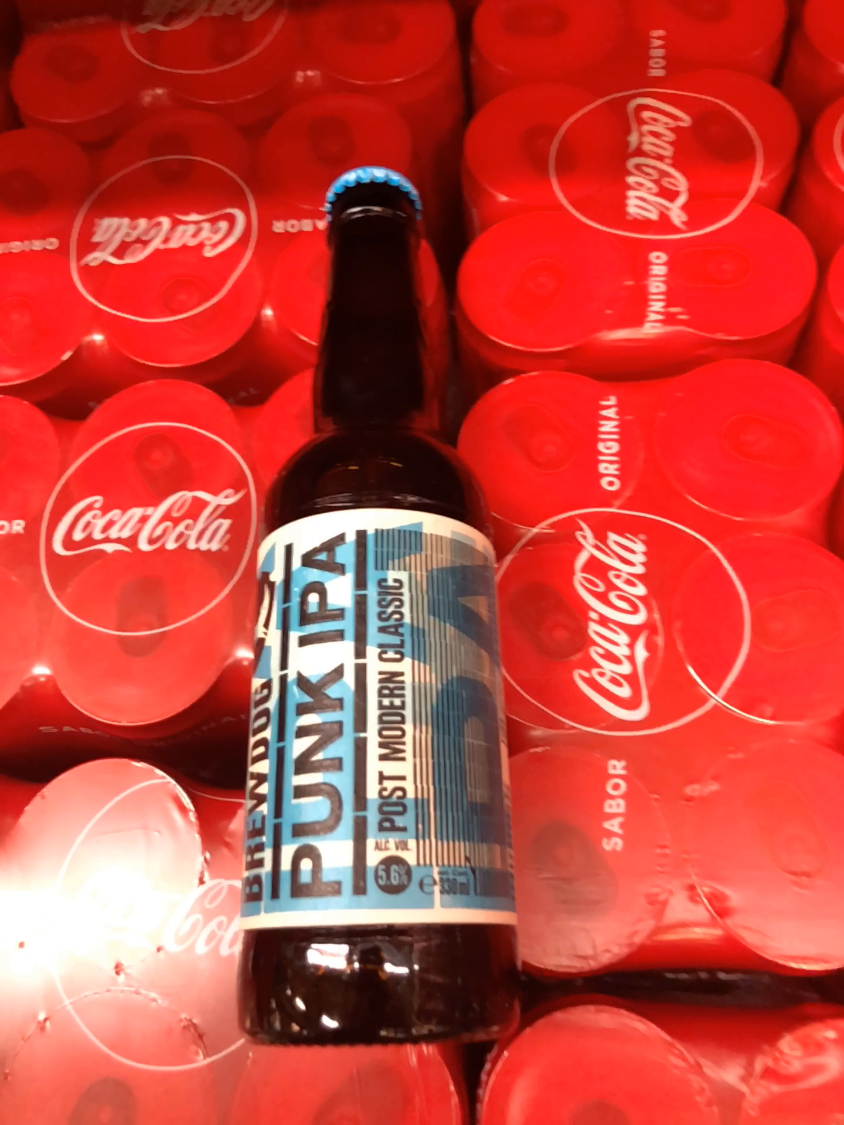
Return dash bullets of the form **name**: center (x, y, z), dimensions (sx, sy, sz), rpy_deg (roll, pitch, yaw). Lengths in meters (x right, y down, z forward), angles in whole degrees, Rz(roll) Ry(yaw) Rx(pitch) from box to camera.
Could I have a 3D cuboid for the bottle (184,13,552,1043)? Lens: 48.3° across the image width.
- **bottle**: center (-0.010, -0.019, 0.223), dimensions (0.060, 0.060, 0.231), rpy_deg (-4, 68, 4)
